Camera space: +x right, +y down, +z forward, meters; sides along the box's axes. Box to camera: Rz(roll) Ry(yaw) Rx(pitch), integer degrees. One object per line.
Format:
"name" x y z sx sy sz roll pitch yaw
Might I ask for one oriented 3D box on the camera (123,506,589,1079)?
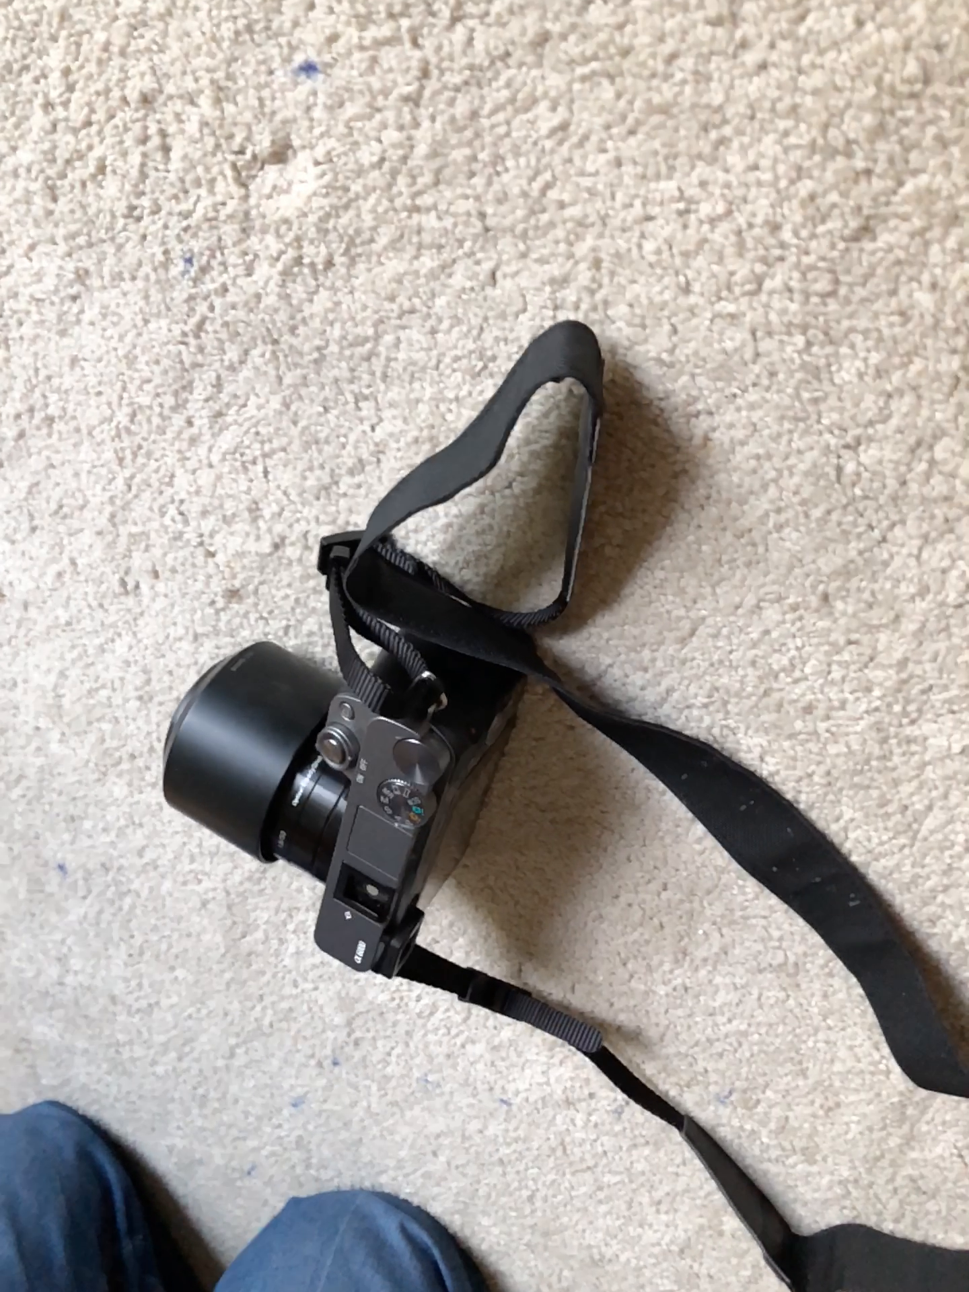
"camera" -0.048 0.049 0.350 0.110 0.070 0.141 27 129 12
